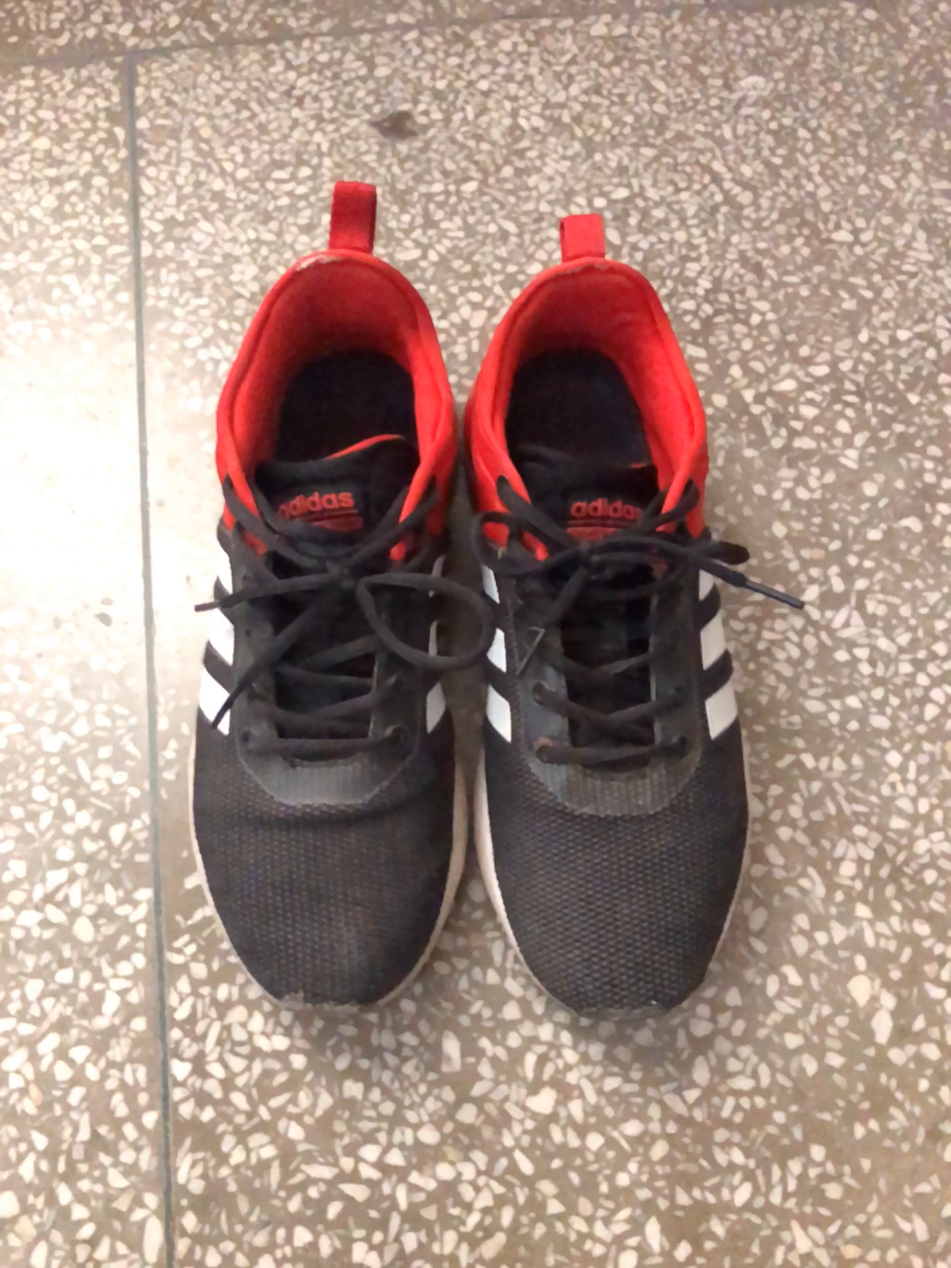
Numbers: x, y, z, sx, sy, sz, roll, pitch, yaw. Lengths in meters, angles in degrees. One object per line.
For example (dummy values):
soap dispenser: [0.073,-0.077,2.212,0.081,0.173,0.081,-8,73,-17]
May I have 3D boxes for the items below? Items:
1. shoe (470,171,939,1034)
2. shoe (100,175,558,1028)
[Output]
shoe: [0.066,-0.011,0.431,0.130,0.140,0.320,-1,68,-1]
shoe: [-0.042,-0.010,0.424,0.130,0.140,0.310,0,68,-1]
